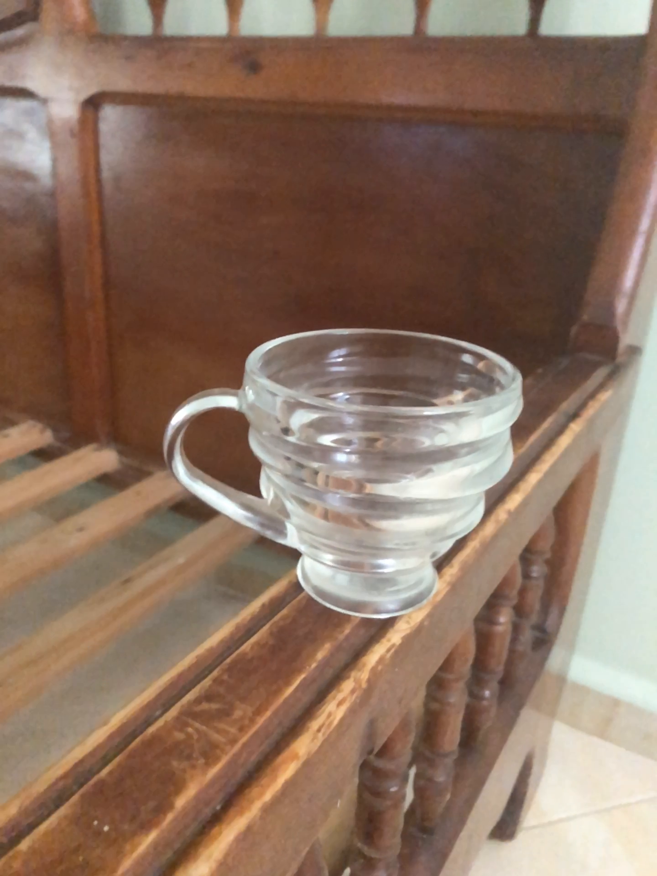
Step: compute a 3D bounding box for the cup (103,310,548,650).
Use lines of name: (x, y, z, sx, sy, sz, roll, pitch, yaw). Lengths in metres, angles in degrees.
cup: (0.001, 0.006, 0.220, 0.105, 0.065, 0.076, 5, 23, 5)
